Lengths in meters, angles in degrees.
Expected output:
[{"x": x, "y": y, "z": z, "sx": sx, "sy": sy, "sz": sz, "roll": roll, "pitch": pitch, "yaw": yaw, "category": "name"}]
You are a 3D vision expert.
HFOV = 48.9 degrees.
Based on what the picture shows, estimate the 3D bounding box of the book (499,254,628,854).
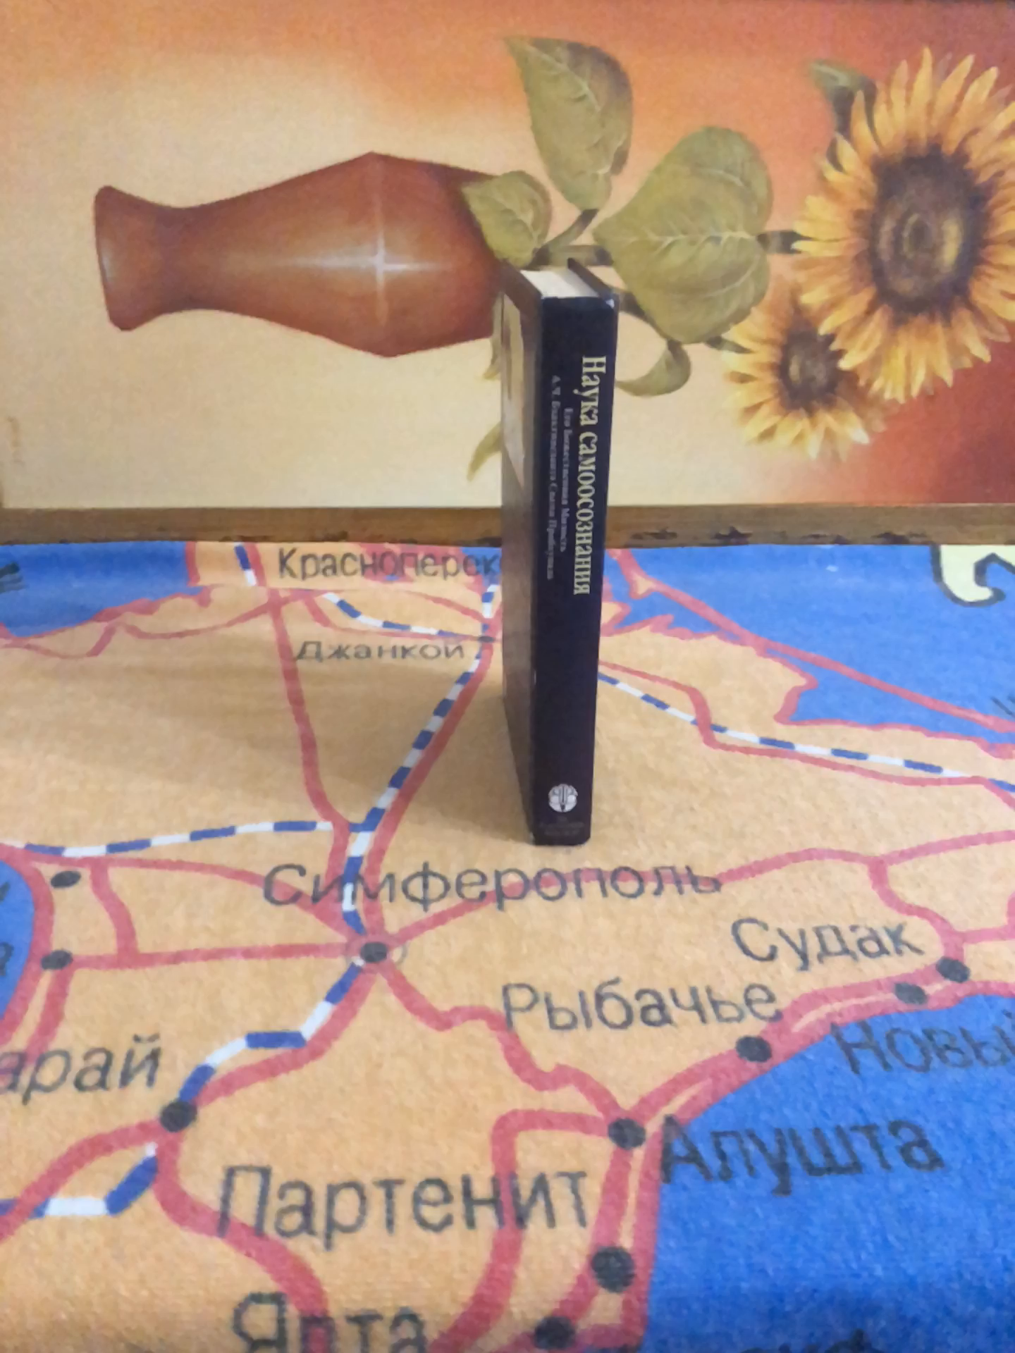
[{"x": 0.018, "y": -0.055, "z": 0.451, "sx": 0.030, "sy": 0.205, "sz": 0.141, "roll": -3, "pitch": 25, "yaw": -4, "category": "book"}]
